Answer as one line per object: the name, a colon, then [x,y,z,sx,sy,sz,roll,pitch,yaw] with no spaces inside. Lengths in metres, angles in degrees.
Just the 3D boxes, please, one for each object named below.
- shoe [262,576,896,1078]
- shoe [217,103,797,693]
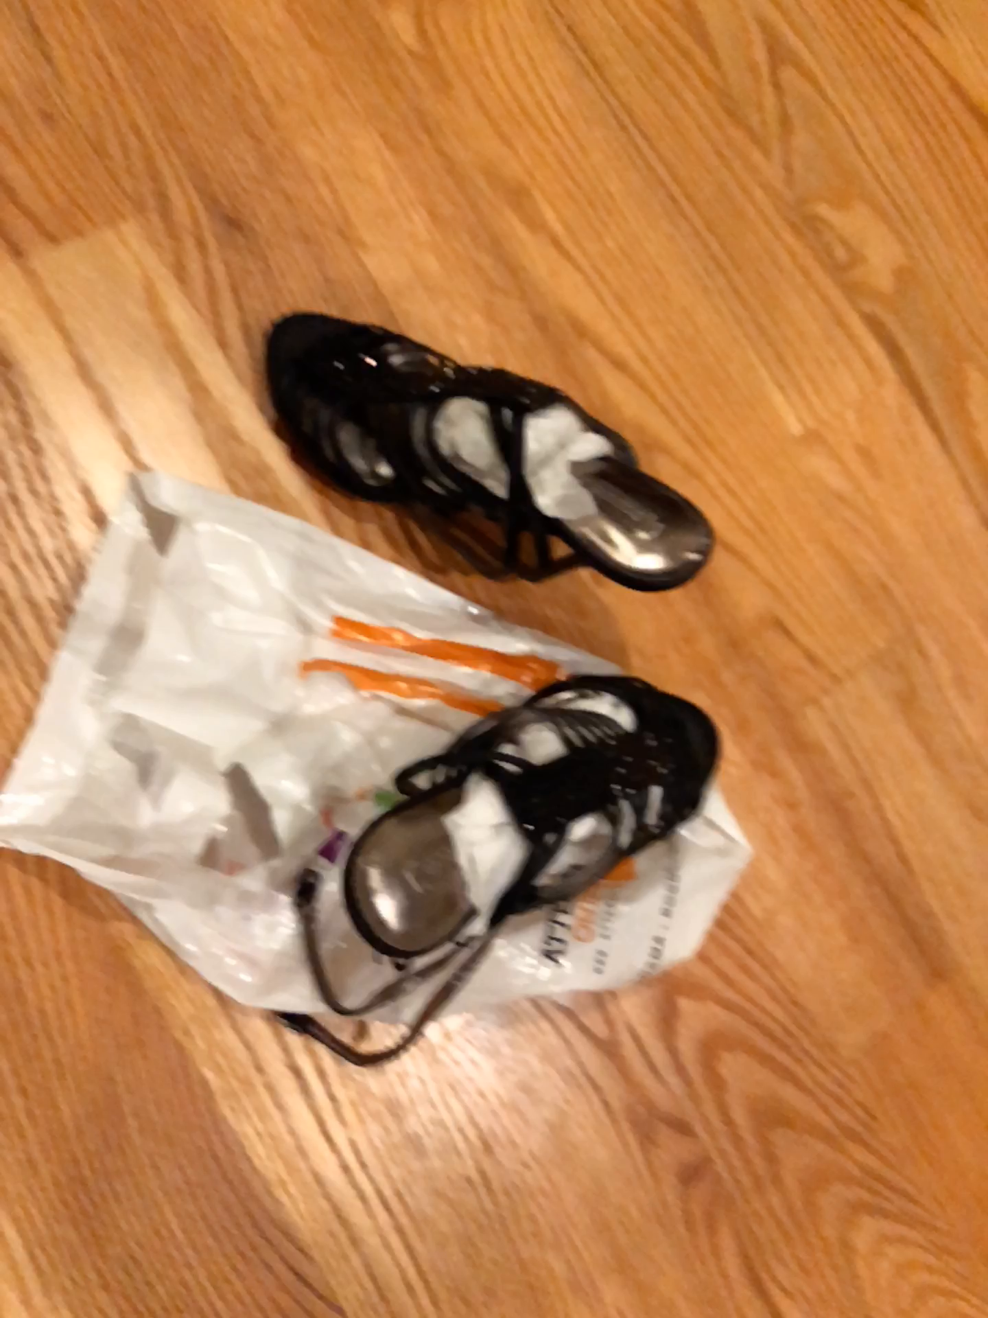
shoe: [0.031,0.062,0.452,0.218,0.113,0.092,-26,89,-21]
shoe: [-0.001,-0.099,0.473,0.217,0.113,0.090,42,70,-7]
